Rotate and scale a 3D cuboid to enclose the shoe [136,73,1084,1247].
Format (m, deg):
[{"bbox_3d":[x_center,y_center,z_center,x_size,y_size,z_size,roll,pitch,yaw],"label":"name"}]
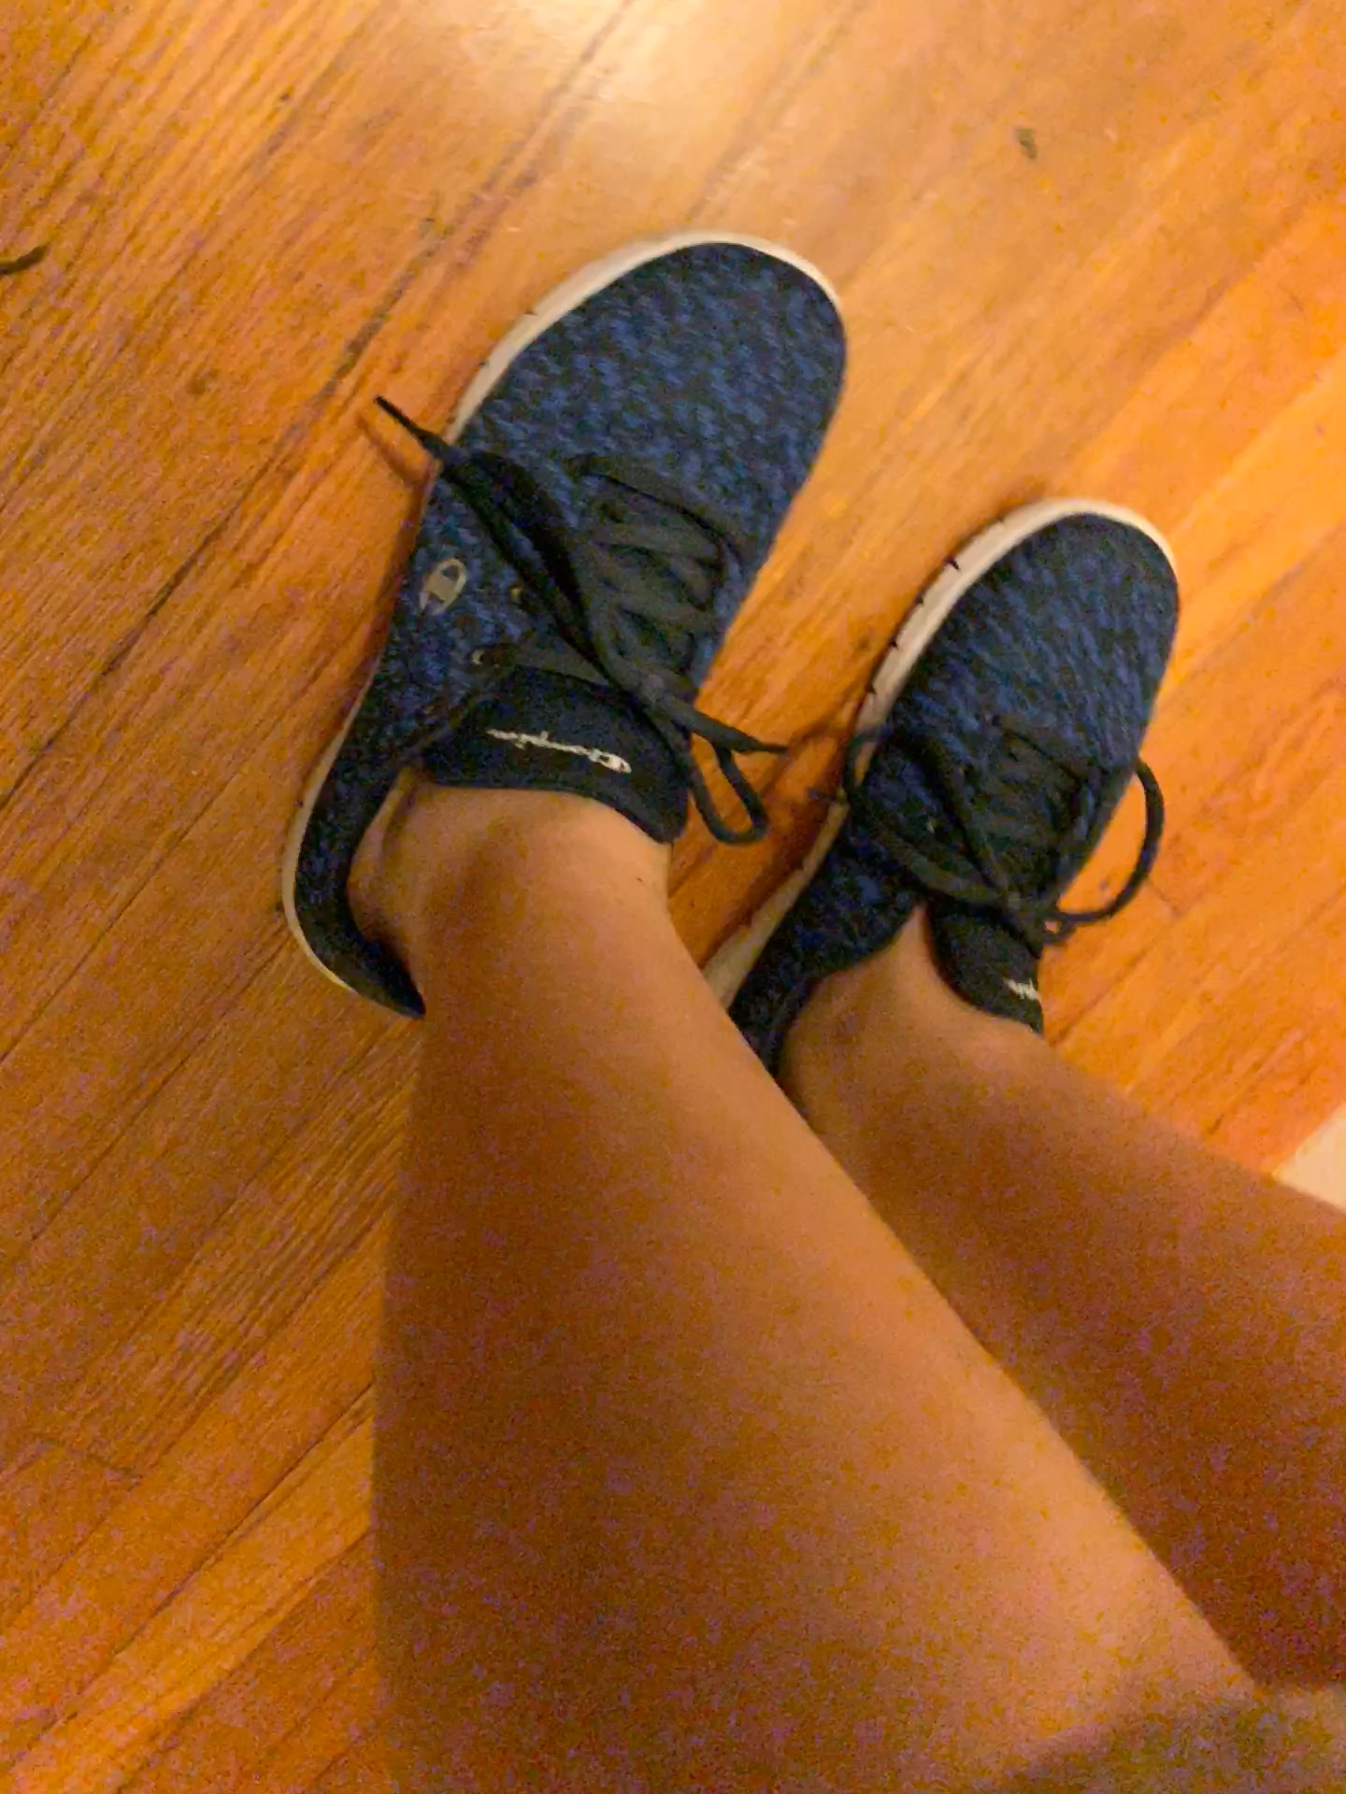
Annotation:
[{"bbox_3d":[-0.038,-0.067,0.425,0.116,0.149,0.291,26,106,-24],"label":"shoe"}]

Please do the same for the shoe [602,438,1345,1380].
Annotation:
[{"bbox_3d":[0.104,0.005,0.485,0.118,0.129,0.281,24,107,-23],"label":"shoe"}]
